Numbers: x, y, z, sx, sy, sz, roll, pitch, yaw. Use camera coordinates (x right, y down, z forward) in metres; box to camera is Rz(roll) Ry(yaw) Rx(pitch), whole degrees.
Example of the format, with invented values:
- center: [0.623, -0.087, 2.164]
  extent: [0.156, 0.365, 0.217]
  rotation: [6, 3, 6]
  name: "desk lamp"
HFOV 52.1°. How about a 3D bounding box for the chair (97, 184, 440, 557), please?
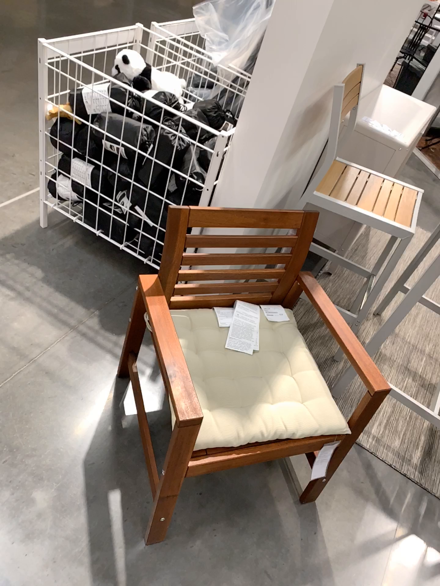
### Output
- center: [0.048, 0.197, 1.343]
  extent: [0.651, 0.706, 0.723]
  rotation: [-3, 48, -24]
  name: "chair"
